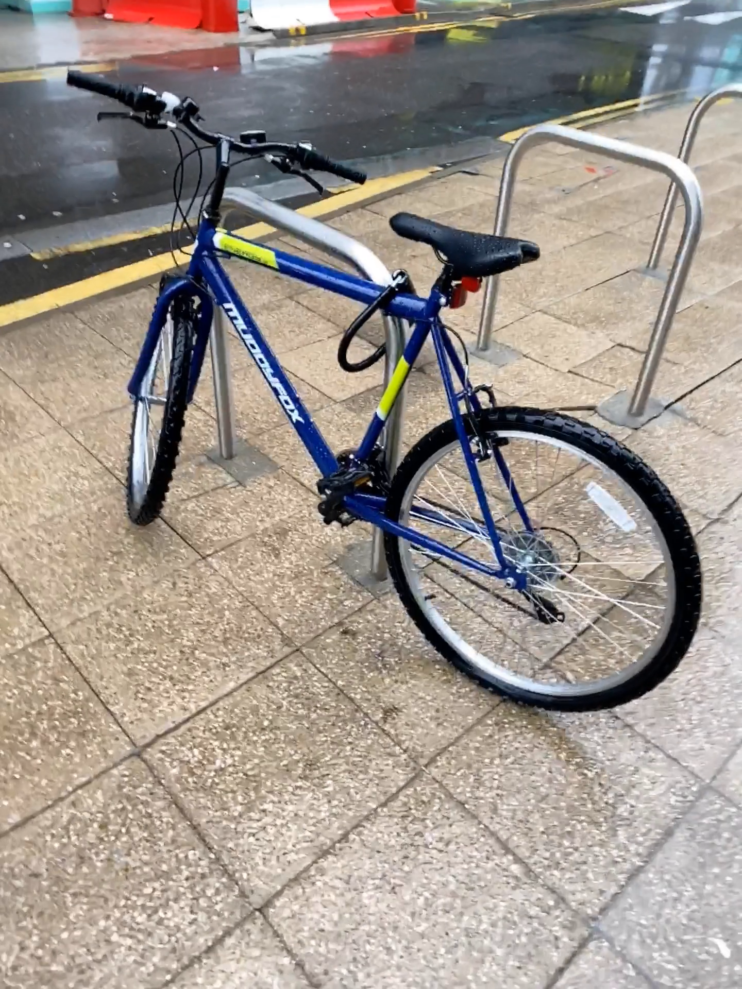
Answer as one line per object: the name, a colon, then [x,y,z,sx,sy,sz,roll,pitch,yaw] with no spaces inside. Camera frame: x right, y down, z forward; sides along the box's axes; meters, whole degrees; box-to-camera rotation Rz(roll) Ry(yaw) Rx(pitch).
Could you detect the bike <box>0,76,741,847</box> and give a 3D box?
bike: [-0.016,-0.231,1.629,1.595,1.012,0.600,28,44,32]
